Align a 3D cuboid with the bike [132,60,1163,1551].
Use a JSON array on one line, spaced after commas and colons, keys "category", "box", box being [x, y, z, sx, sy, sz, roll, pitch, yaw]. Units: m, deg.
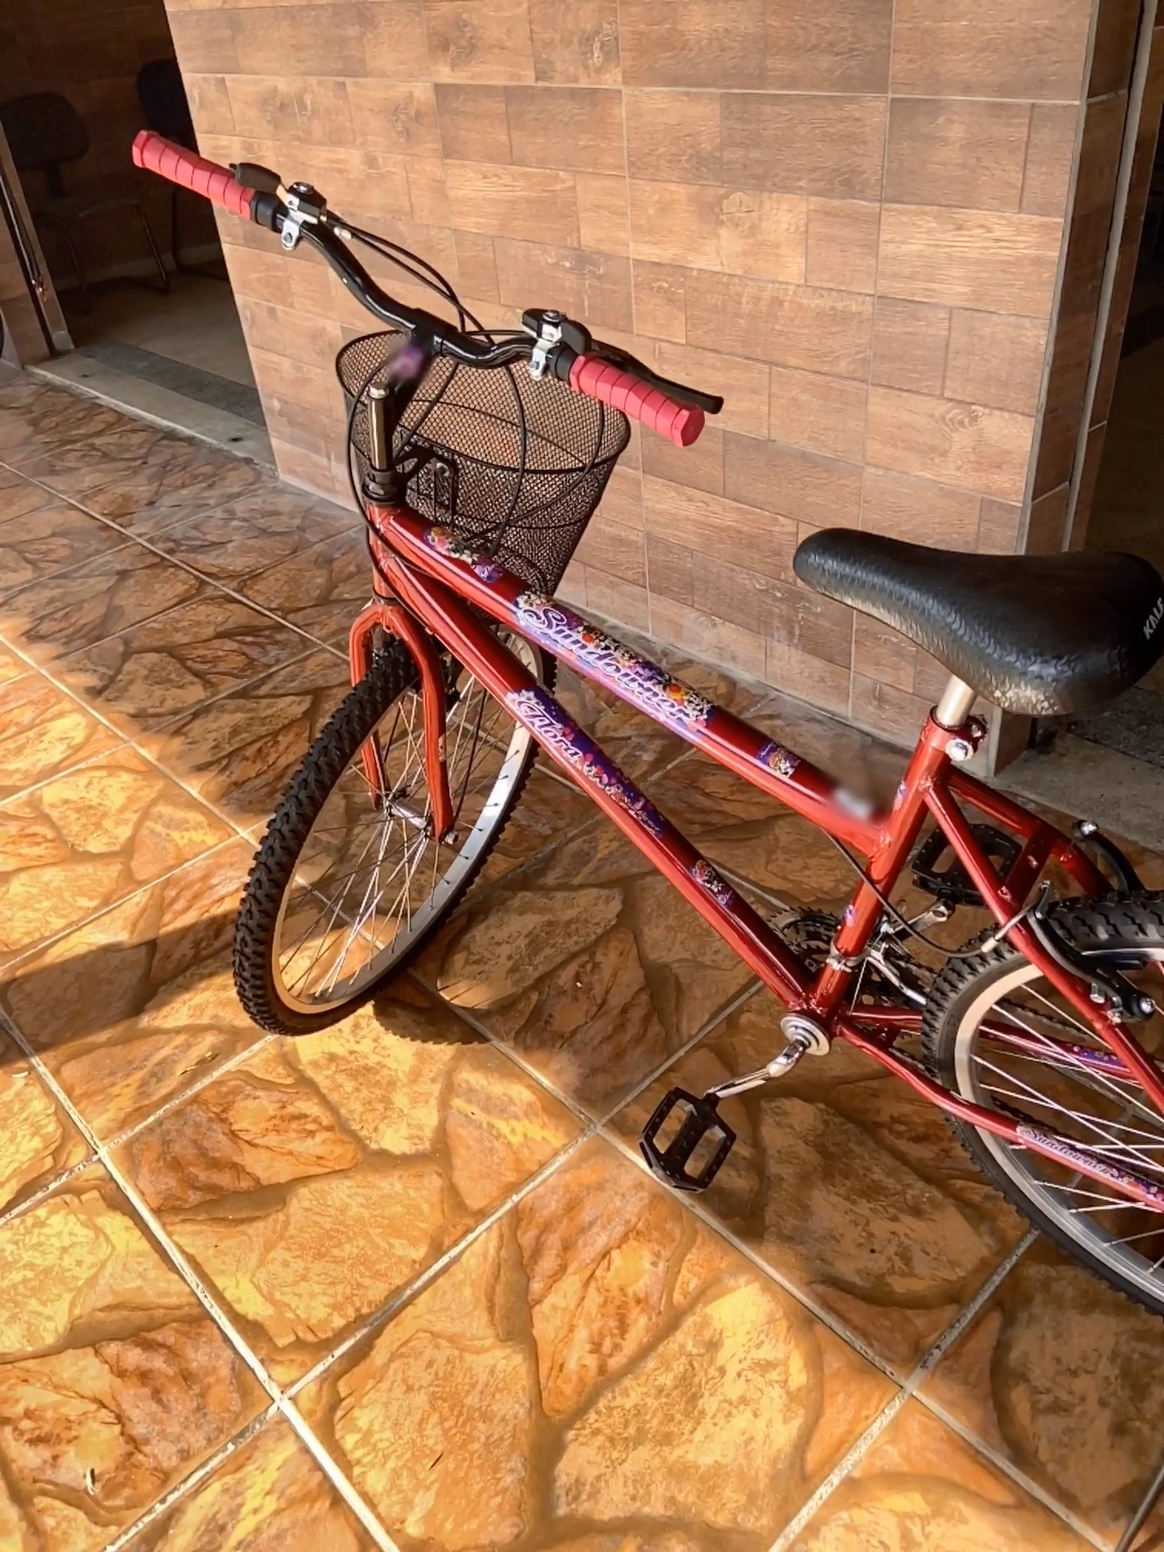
[{"category": "bike", "box": [0.271, 0.024, 1.076, 0.551, 1.080, 1.412, -29, 41, -30]}]
